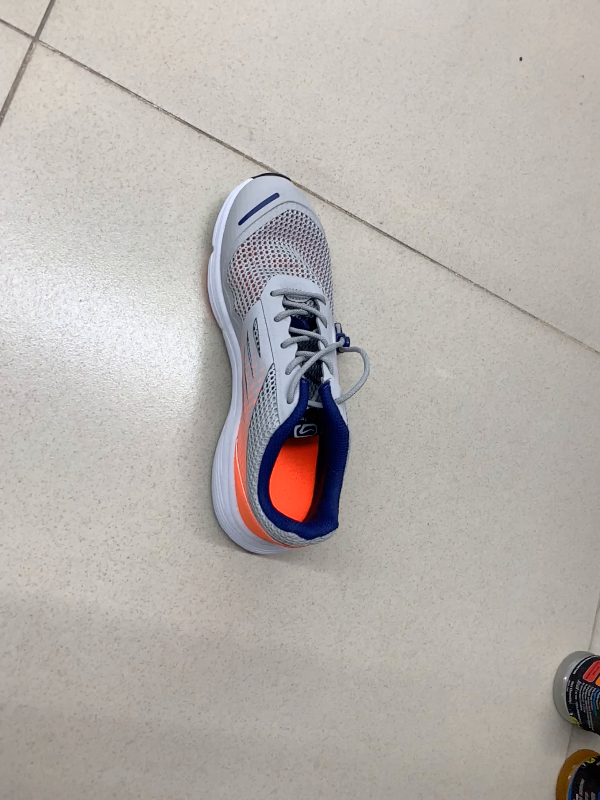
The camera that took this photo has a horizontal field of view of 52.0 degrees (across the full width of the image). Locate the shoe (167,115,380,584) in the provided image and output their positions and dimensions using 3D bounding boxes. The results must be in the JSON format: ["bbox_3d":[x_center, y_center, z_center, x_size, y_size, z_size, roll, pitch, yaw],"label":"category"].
[{"bbox_3d":[-0.020,-0.026,0.393,0.100,0.100,0.250,2,88,-25],"label":"shoe"}]
